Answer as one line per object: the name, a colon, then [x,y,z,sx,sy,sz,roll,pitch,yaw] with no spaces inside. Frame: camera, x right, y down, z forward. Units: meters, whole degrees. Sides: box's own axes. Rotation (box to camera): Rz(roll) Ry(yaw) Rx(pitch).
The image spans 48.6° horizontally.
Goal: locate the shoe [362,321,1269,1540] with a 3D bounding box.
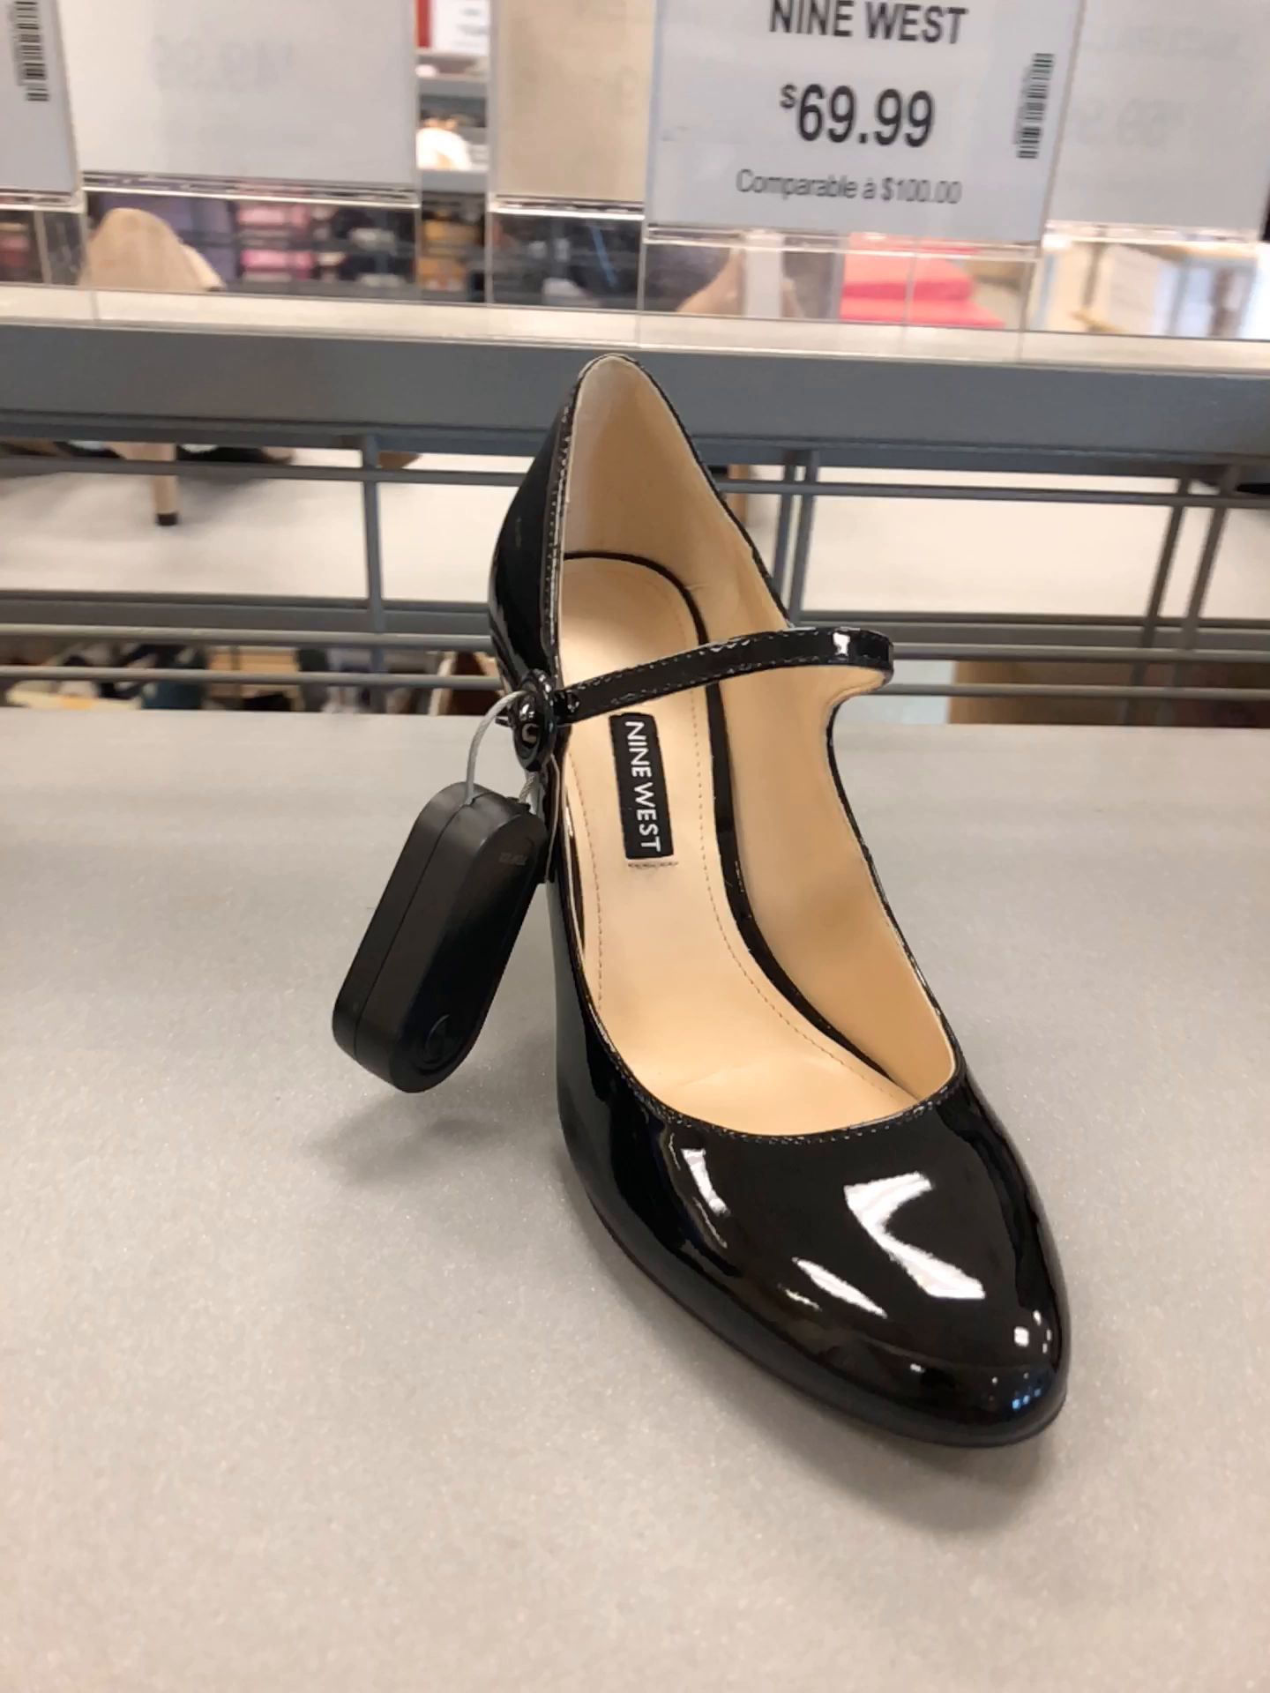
shoe: [0.014,-0.016,0.321,0.090,0.151,0.258,-9,32,-21]
